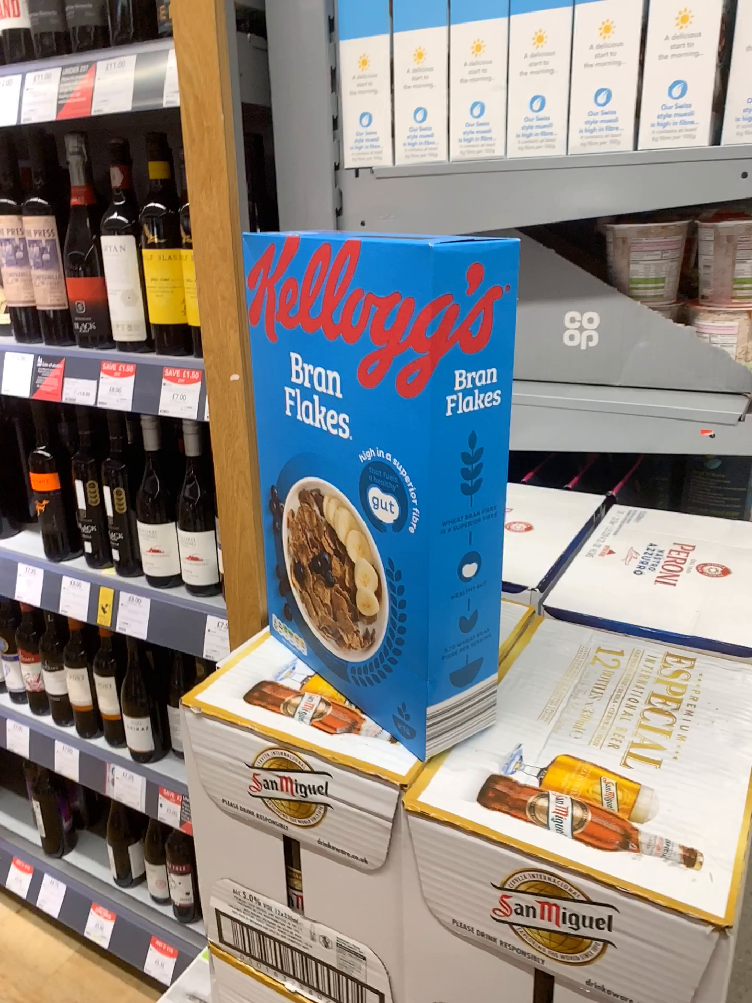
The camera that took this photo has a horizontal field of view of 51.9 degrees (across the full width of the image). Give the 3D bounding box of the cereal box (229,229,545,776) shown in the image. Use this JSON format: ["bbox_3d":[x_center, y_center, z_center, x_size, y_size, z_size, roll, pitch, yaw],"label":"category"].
[{"bbox_3d":[-0.005,-0.015,0.485,0.070,0.288,0.201,-15,25,-34],"label":"cereal box"}]
